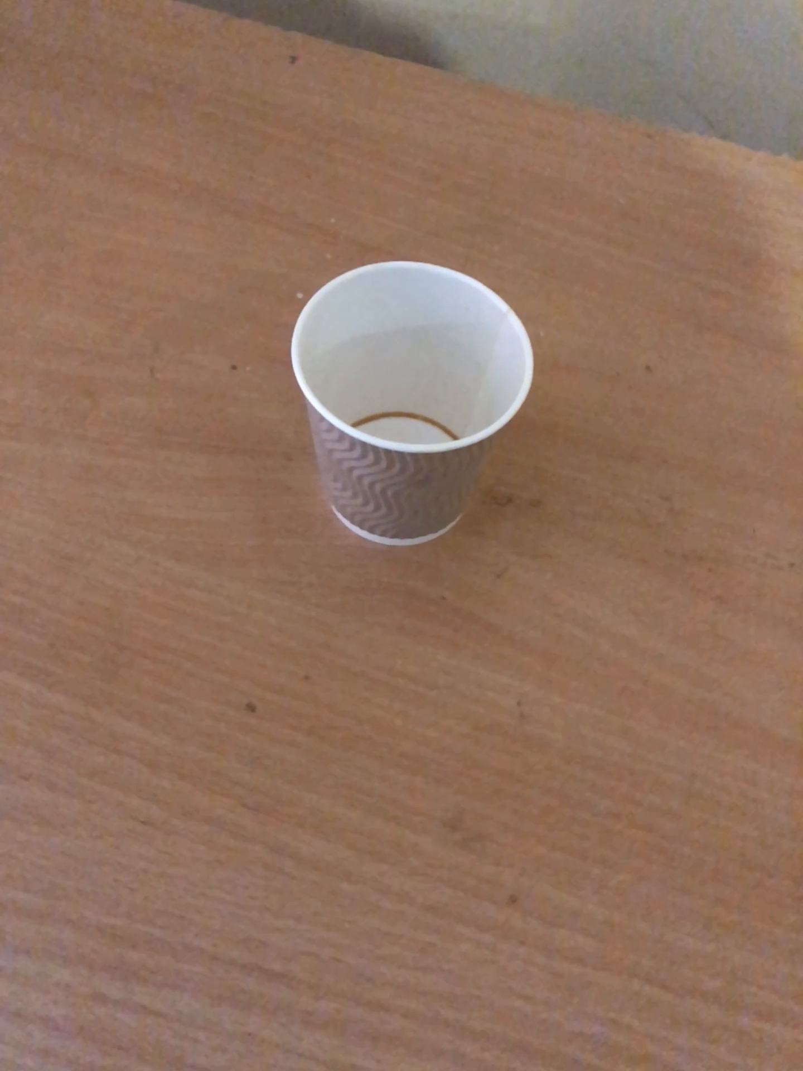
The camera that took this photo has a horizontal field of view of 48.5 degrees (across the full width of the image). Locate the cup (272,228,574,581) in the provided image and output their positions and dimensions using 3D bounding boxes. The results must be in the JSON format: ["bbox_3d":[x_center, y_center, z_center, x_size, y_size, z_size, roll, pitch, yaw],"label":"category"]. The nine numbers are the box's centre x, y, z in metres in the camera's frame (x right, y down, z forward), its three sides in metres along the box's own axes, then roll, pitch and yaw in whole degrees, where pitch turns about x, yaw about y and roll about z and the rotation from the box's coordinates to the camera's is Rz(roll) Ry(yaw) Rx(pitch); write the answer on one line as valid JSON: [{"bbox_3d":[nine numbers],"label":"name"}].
[{"bbox_3d":[0.003,-0.040,0.279,0.067,0.064,0.074,-13,61,-9],"label":"cup"}]
